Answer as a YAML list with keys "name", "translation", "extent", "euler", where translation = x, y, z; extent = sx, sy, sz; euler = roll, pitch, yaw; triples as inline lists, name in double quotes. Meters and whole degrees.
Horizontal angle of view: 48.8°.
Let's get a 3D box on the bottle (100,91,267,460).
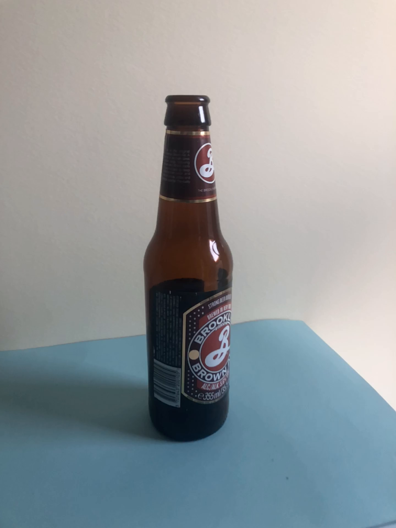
- name: "bottle"
  translation: [-0.009, 0.006, 0.298]
  extent: [0.070, 0.229, 0.070]
  euler: [1, 20, 0]
